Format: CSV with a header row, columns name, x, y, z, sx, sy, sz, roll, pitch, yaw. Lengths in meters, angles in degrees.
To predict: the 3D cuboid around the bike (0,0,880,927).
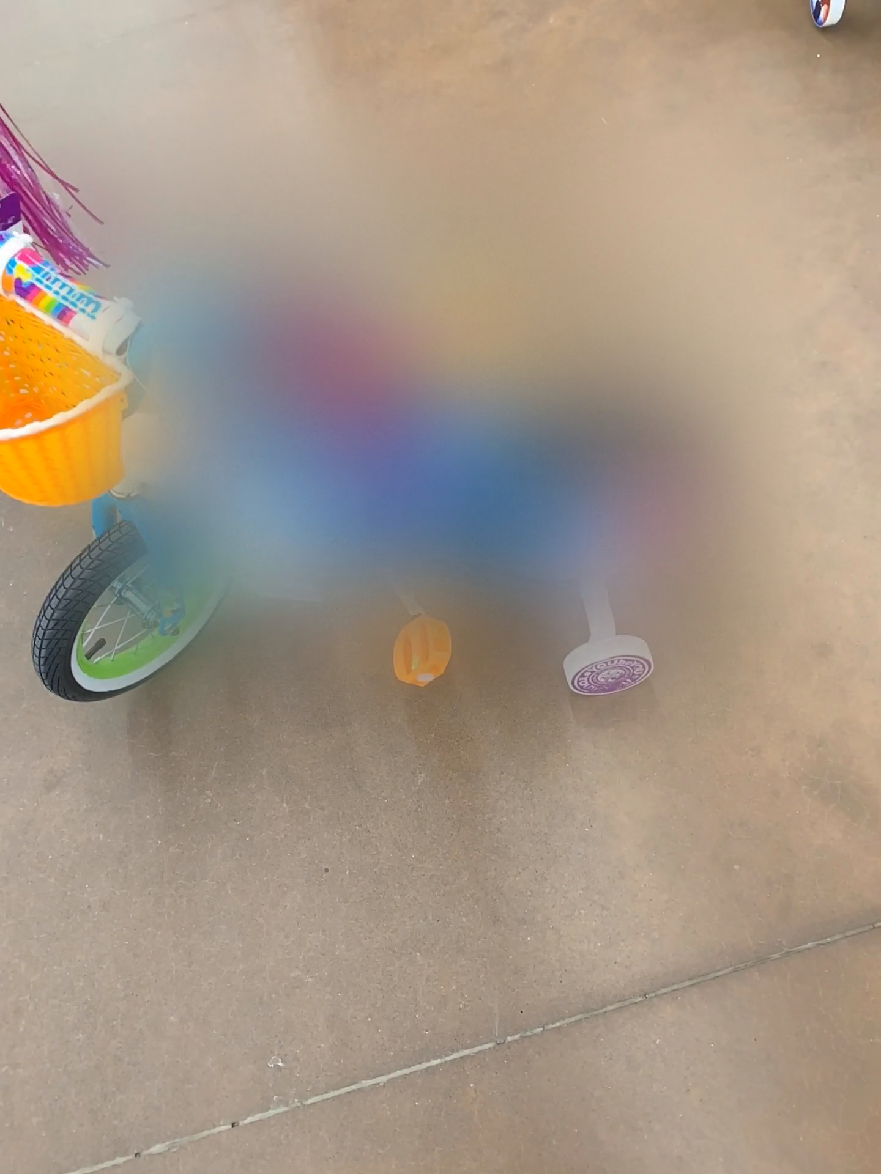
name,x,y,z,sx,sy,sz,roll,pitch,yaw
bike,-0.111,-0.106,0.944,0.833,0.667,0.522,-16,56,3
